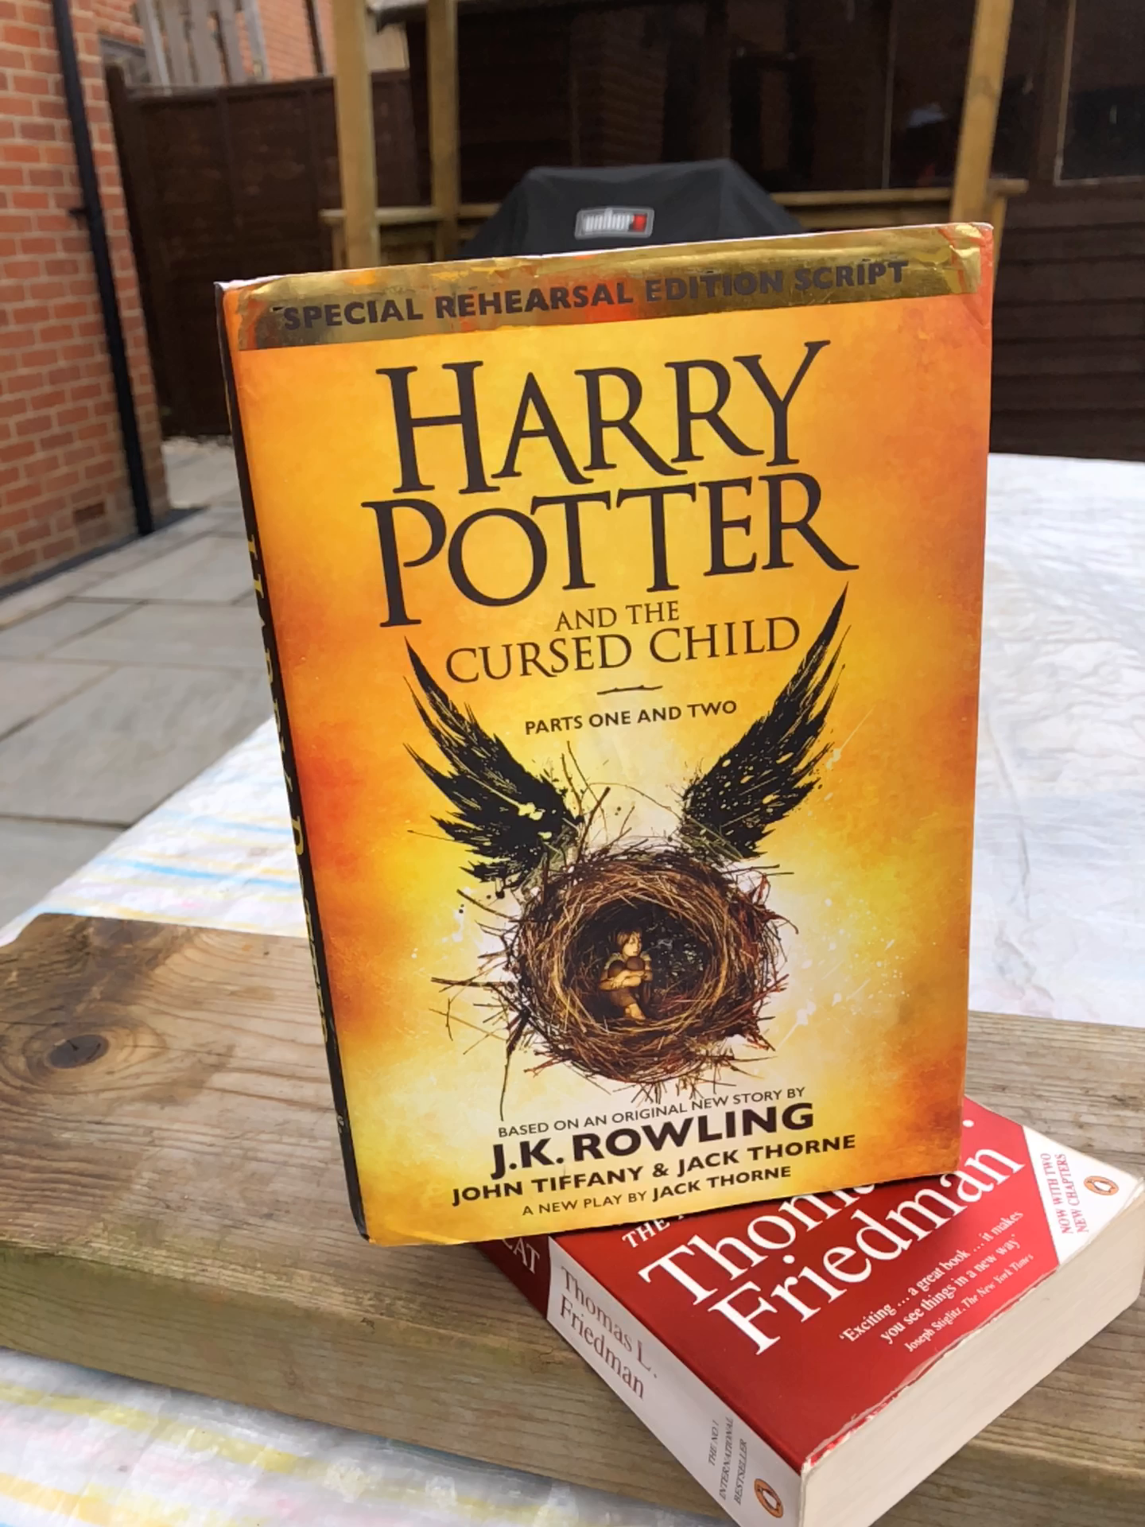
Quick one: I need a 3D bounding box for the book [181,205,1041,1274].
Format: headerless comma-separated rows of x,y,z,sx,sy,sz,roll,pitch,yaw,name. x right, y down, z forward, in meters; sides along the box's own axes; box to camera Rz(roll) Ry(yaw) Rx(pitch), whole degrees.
0.013,0.001,0.304,0.170,0.239,0.040,-4,18,-4,book

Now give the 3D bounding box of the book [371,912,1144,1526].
0.046,0.115,0.363,0.130,0.040,0.191,-17,25,-31,book
